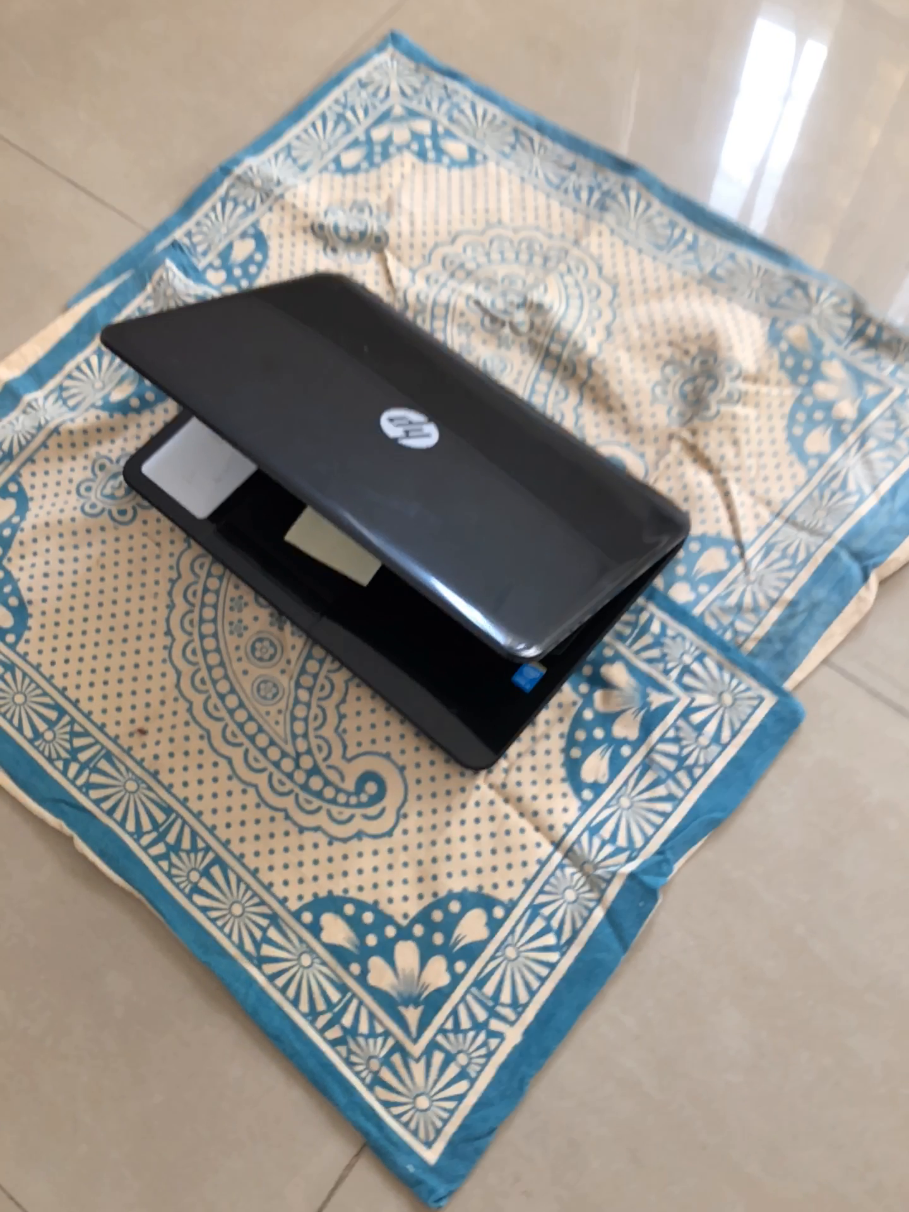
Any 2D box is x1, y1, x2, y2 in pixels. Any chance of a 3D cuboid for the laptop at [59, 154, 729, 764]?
[{"bbox_3d":[-0.041,-0.111,0.700,0.363,0.151,0.237,38,72,18],"label":"laptop"}]
